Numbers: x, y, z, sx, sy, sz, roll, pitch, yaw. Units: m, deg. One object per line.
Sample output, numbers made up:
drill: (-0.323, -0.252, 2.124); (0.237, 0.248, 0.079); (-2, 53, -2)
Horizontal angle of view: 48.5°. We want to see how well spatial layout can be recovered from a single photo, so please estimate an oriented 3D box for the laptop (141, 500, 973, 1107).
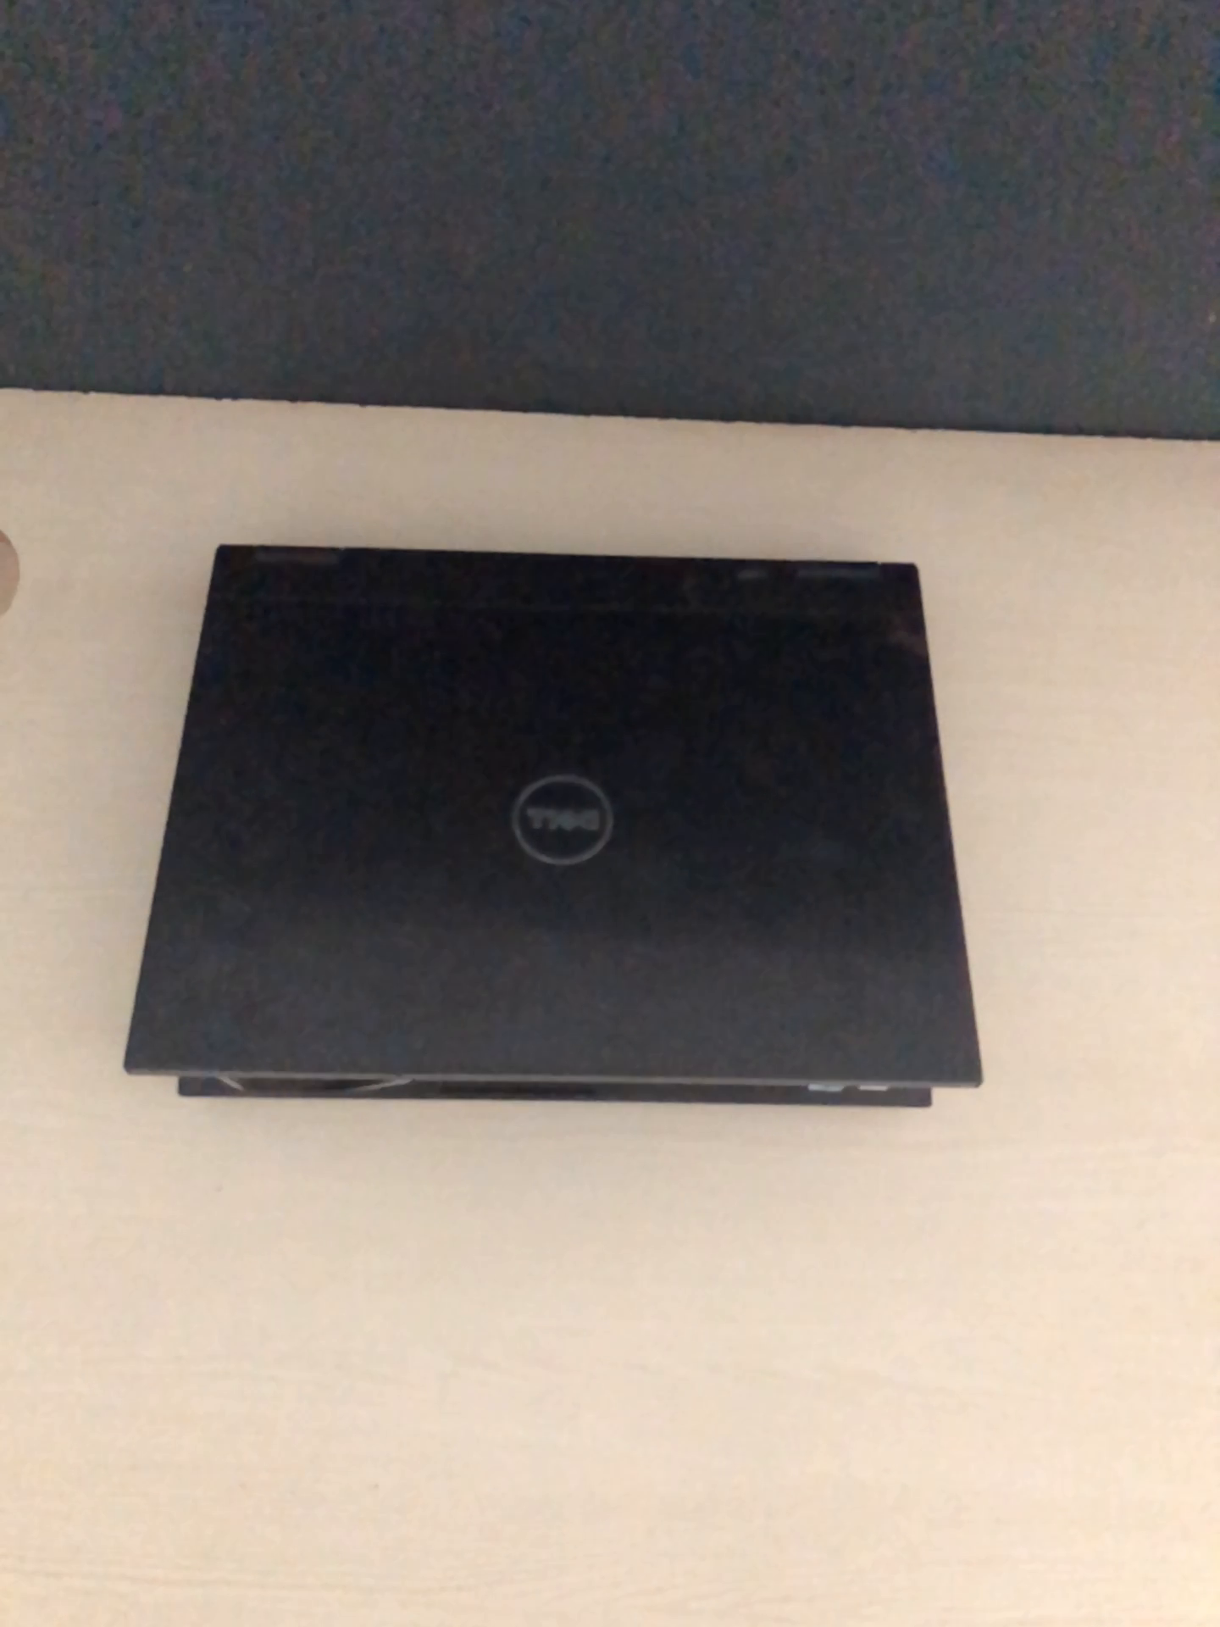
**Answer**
laptop: (-0.016, -0.001, 0.546); (0.302, 0.065, 0.230); (1, 79, -1)
